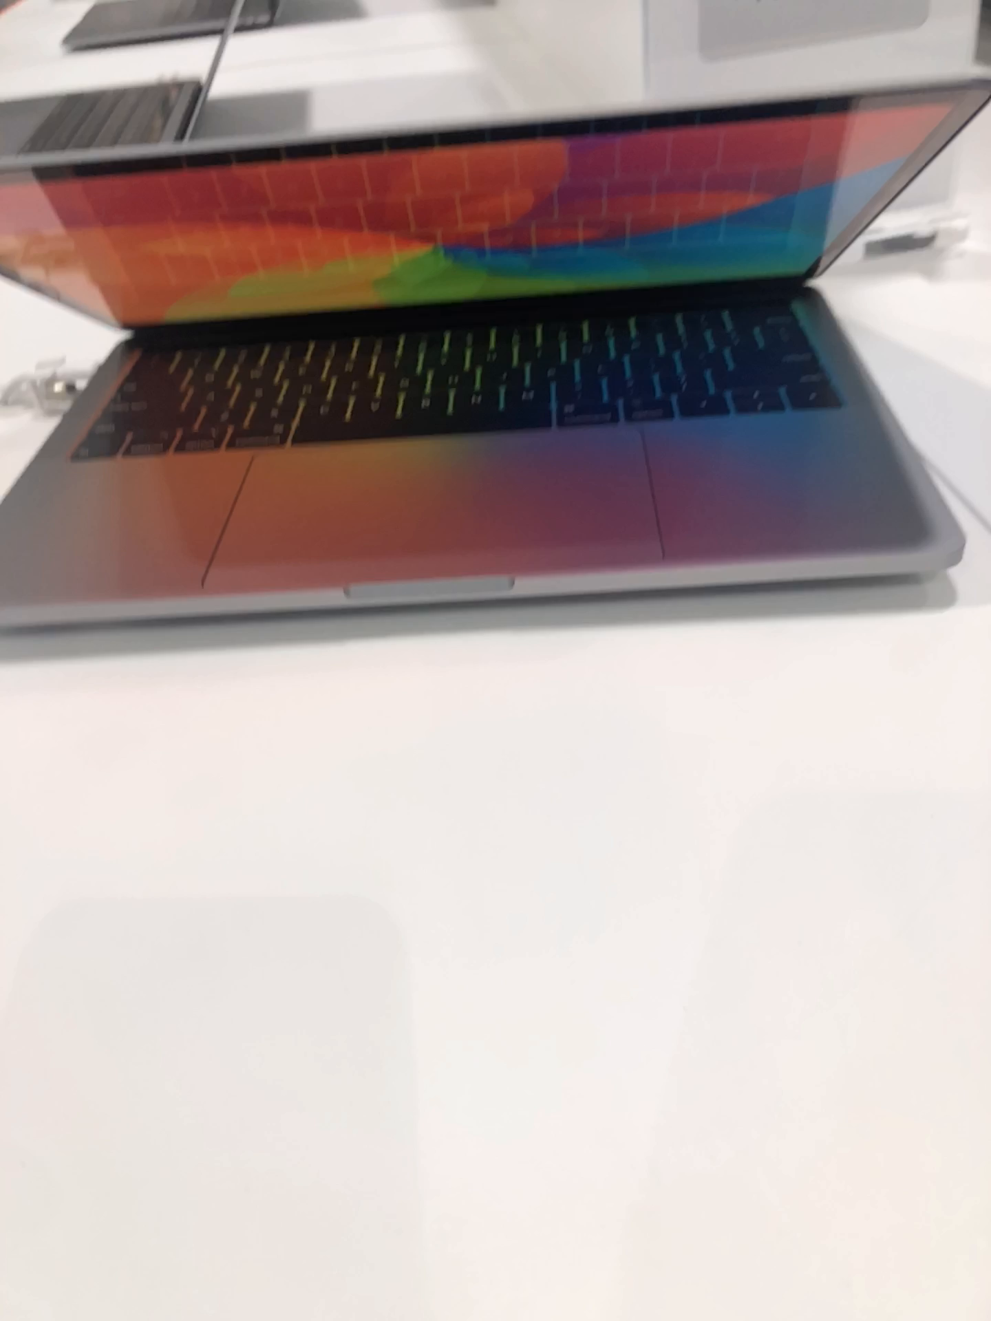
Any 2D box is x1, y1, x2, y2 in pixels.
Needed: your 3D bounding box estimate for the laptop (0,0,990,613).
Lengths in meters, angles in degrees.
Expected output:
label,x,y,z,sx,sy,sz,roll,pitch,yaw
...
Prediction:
label,x,y,z,sx,sy,sz,roll,pitch,yaw
laptop,-0.022,-0.129,0.357,0.296,0.109,0.211,-3,38,4
